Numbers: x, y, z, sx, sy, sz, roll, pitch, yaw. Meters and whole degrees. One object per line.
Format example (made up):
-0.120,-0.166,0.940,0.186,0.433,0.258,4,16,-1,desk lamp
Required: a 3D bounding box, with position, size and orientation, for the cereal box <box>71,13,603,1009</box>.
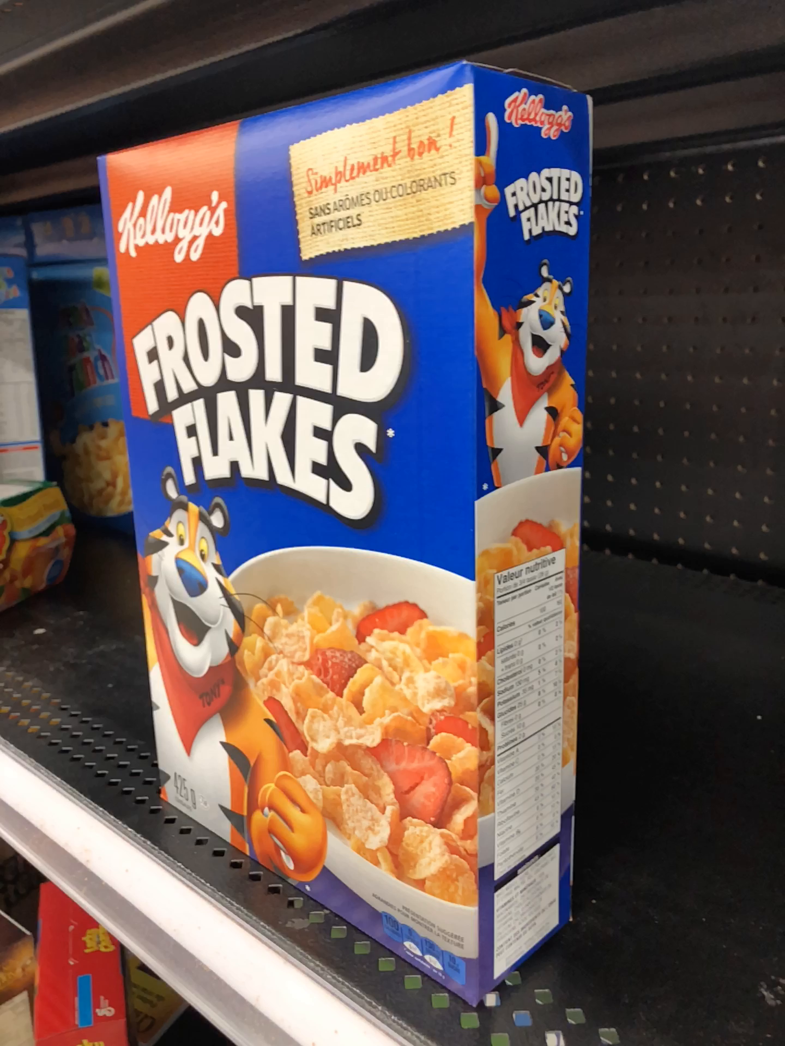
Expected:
-0.032,-0.007,0.339,0.211,0.289,0.060,11,18,43,cereal box
